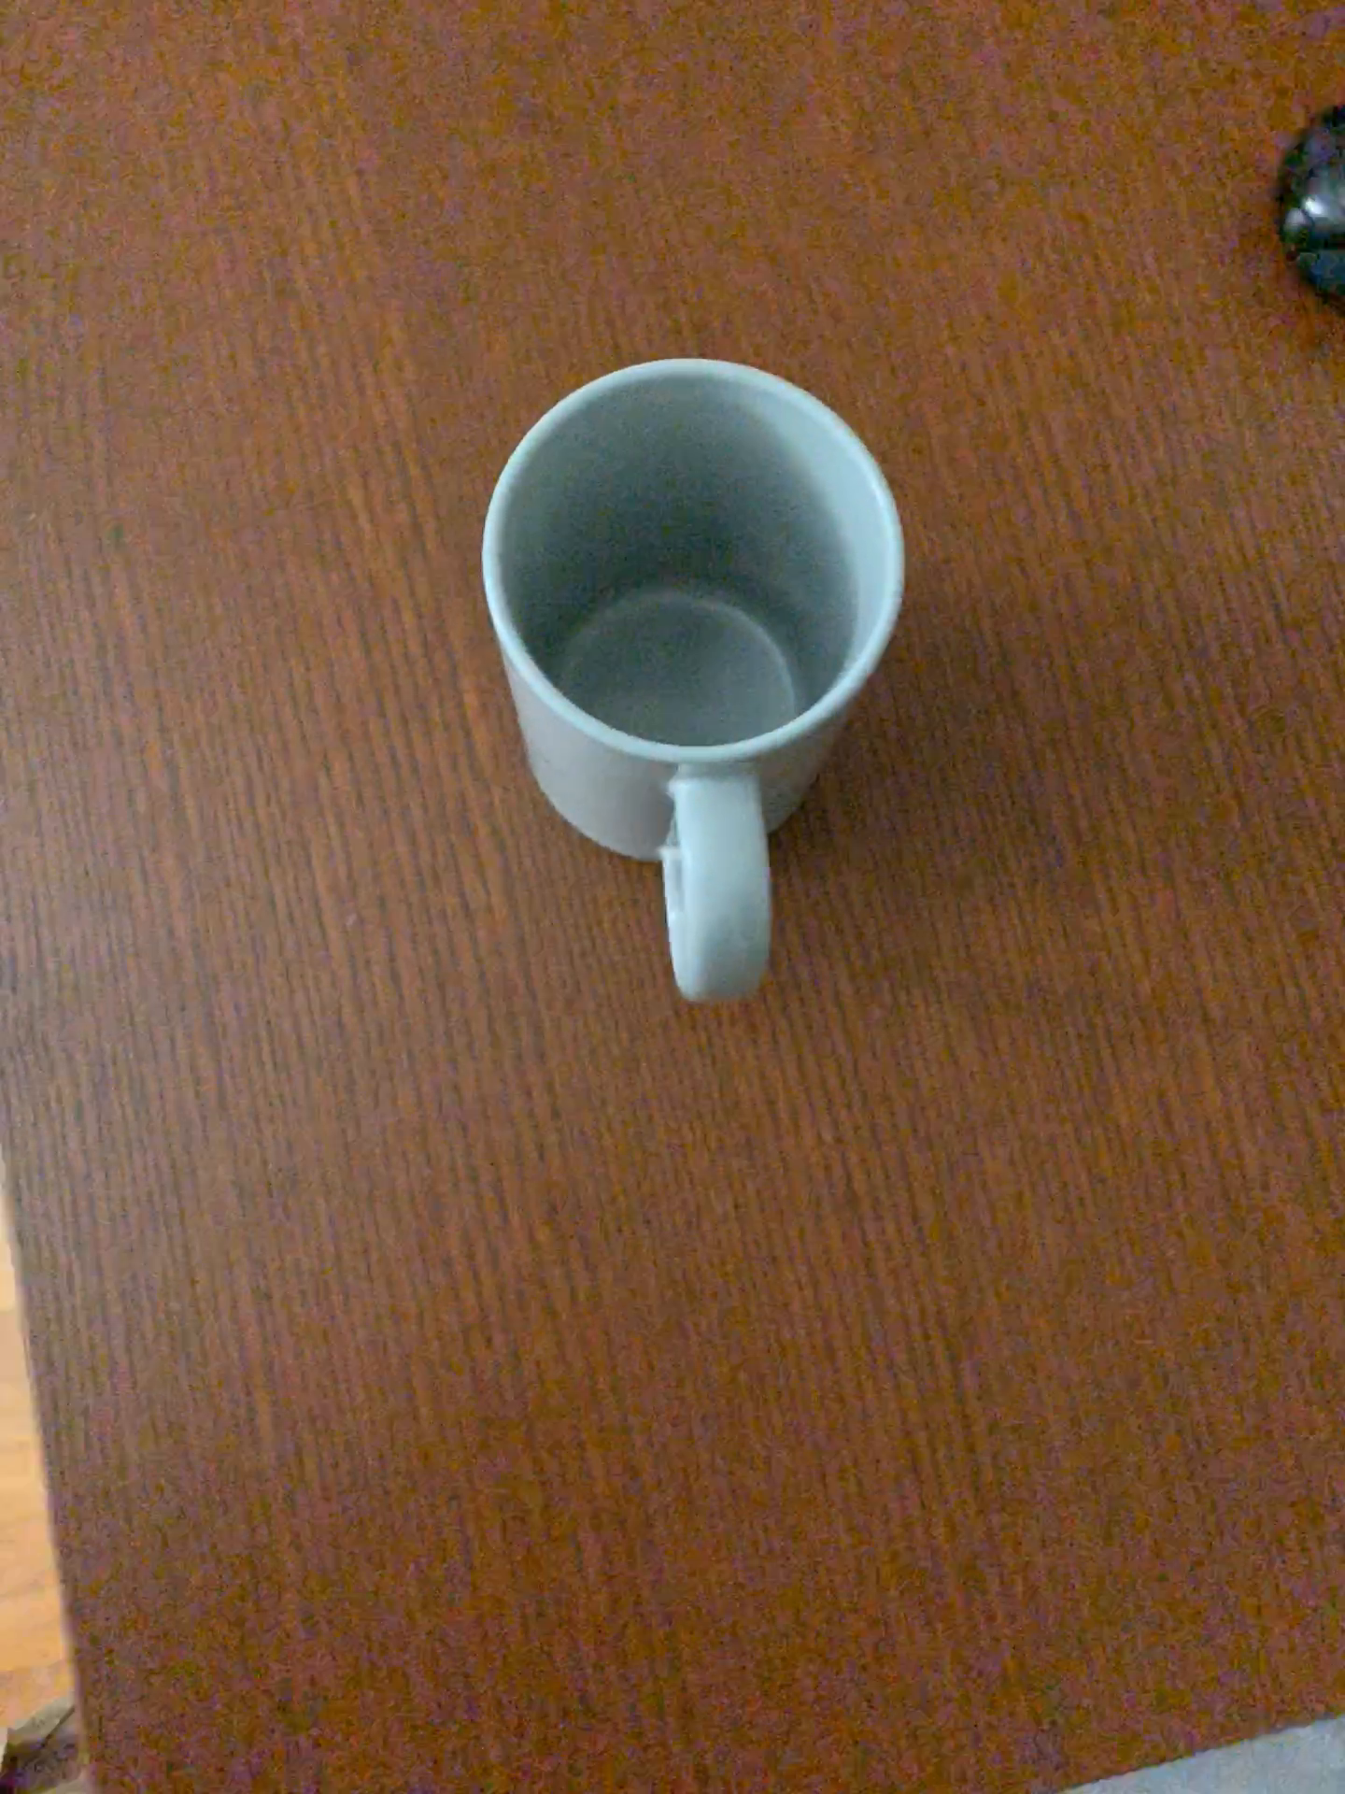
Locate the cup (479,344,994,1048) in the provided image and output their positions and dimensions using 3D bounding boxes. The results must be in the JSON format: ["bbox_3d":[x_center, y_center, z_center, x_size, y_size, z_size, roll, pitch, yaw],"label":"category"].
[{"bbox_3d":[0.010,-0.038,0.335,0.100,0.110,0.140,0,80,-2],"label":"cup"}]
